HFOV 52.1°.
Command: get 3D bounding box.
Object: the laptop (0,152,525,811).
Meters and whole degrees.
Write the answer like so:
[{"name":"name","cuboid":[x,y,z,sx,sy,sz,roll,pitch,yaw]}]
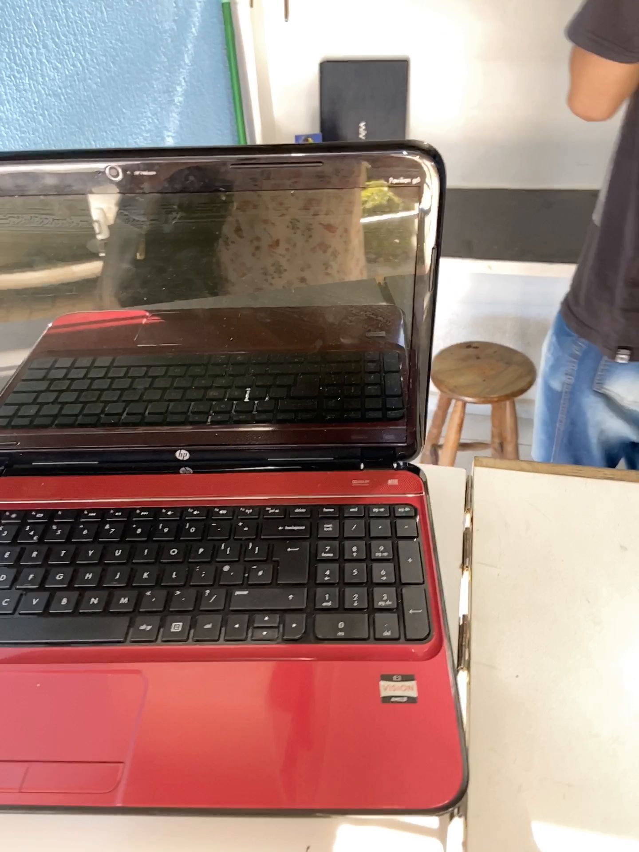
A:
[{"name":"laptop","cuboid":[-0.116,0.019,0.332,0.356,0.220,0.228,-1,38,4]}]
